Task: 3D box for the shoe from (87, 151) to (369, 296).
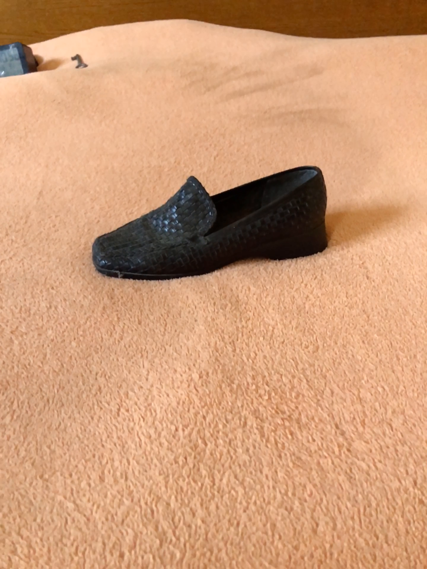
[{"bbox_3d":[0.011,-0.072,0.501,0.270,0.089,0.100,-8,32,-11],"label":"shoe"}]
